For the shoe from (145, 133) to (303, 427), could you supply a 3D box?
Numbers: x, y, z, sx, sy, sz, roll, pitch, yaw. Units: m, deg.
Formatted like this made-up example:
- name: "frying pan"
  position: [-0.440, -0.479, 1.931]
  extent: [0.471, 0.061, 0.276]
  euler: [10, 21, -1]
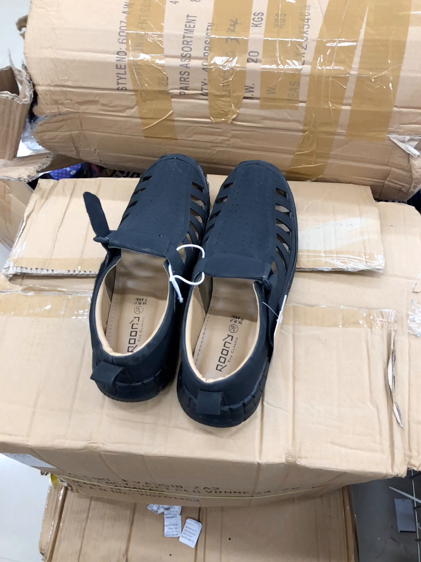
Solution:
- name: "shoe"
  position: [0.025, -0.011, 0.463]
  extent: [0.100, 0.100, 0.271]
  euler: [8, 60, 7]

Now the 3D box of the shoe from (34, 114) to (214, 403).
- name: "shoe"
  position: [-0.067, -0.033, 0.473]
  extent: [0.110, 0.100, 0.281]
  euler: [4, 59, 5]
